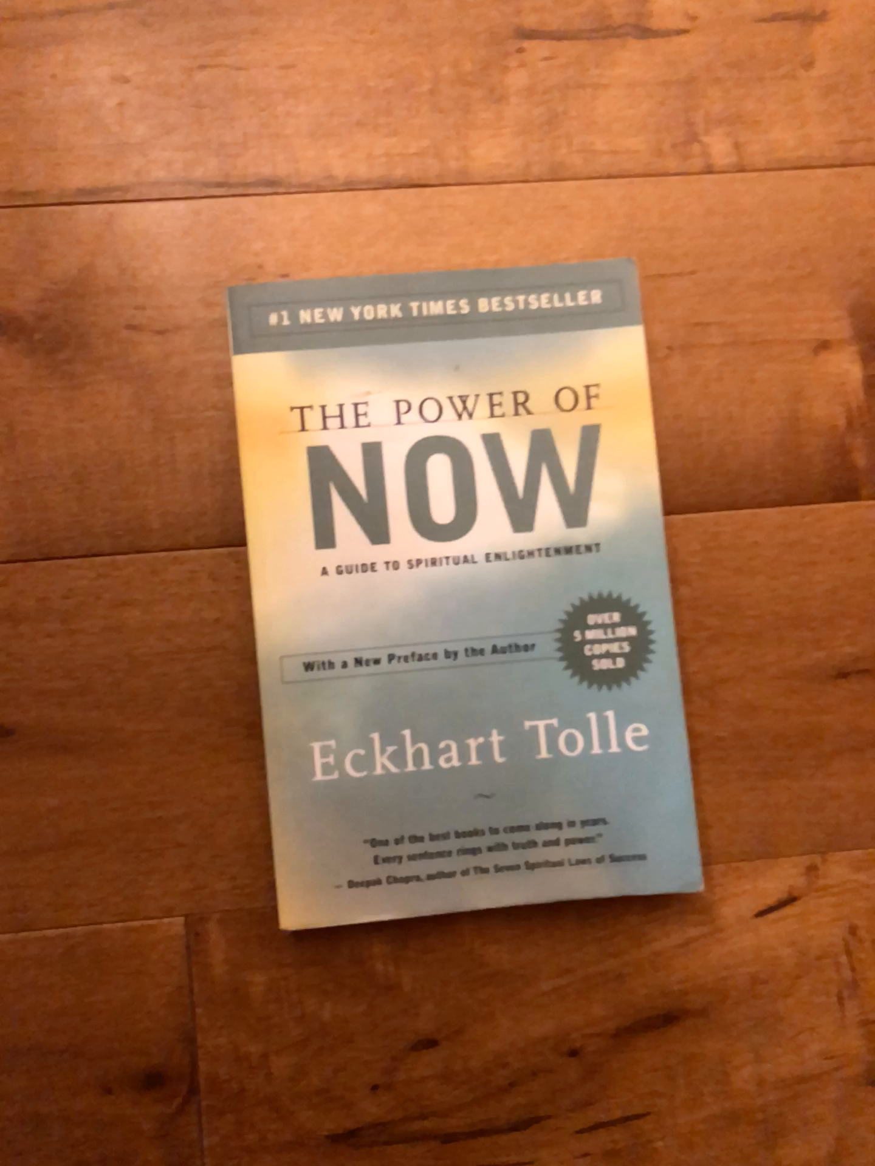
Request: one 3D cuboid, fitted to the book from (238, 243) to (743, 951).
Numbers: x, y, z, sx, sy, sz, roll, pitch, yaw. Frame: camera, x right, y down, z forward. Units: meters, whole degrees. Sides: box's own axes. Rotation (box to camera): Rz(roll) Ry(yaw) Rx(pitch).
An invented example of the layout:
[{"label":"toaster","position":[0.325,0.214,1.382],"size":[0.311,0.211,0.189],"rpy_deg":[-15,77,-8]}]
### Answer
[{"label":"book","position":[0.016,0.002,0.336],"size":[0.146,0.030,0.222],"rpy_deg":[-5,86,-3]}]
